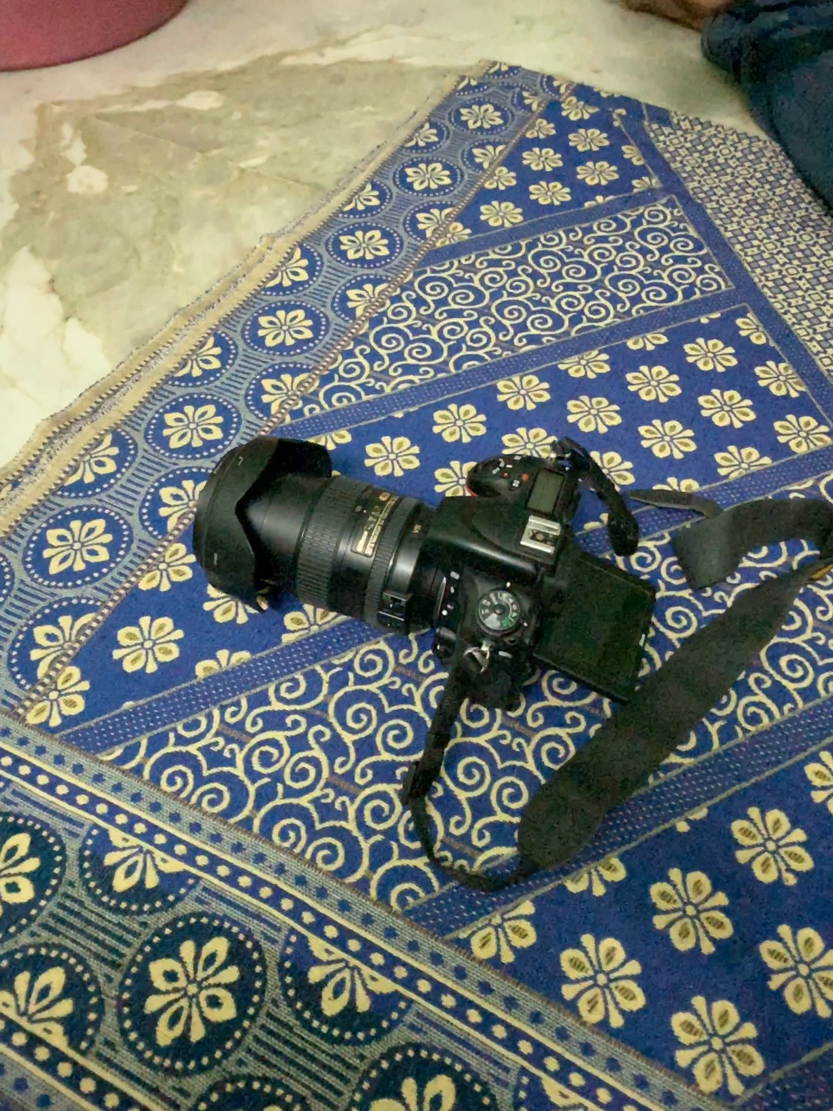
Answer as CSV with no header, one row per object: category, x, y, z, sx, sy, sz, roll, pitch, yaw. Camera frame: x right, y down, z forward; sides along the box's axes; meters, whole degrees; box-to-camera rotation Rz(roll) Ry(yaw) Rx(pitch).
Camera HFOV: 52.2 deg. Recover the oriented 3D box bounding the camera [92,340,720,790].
camera,-0.002,-0.004,0.526,0.320,0.110,0.160,17,56,13
